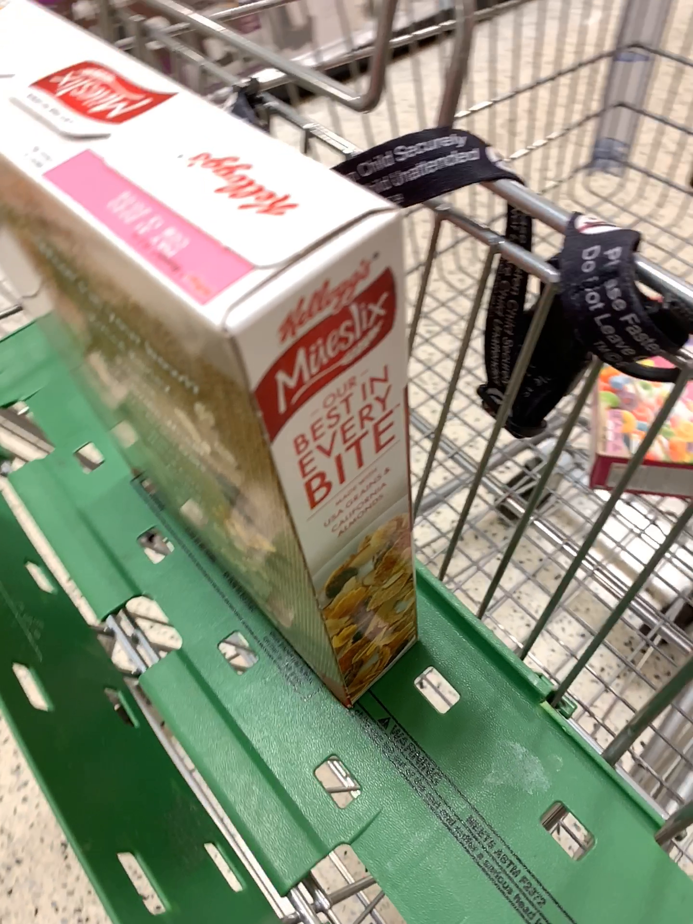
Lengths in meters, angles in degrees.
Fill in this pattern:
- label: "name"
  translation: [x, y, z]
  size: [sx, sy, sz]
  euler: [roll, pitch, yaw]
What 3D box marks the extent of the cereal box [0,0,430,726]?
- label: "cereal box"
  translation: [-0.056, -0.024, 0.262]
  size: [0.050, 0.248, 0.191]
  euler: [-39, 61, -18]
